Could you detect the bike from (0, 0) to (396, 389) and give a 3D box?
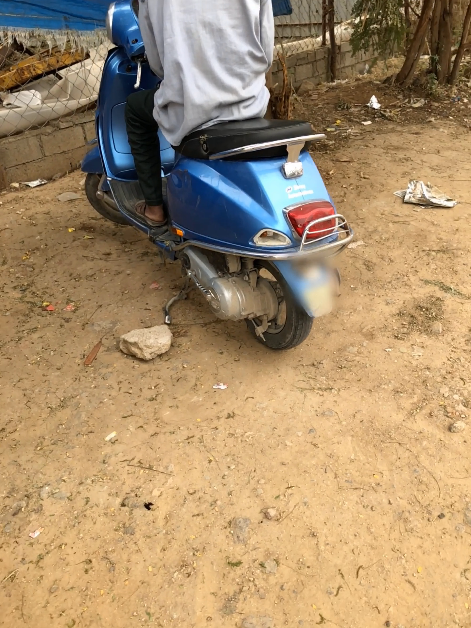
[{"bbox_3d":[-0.276,-0.734,2.166,0.634,1.253,1.568,-28,43,-32],"label":"bike"}]
